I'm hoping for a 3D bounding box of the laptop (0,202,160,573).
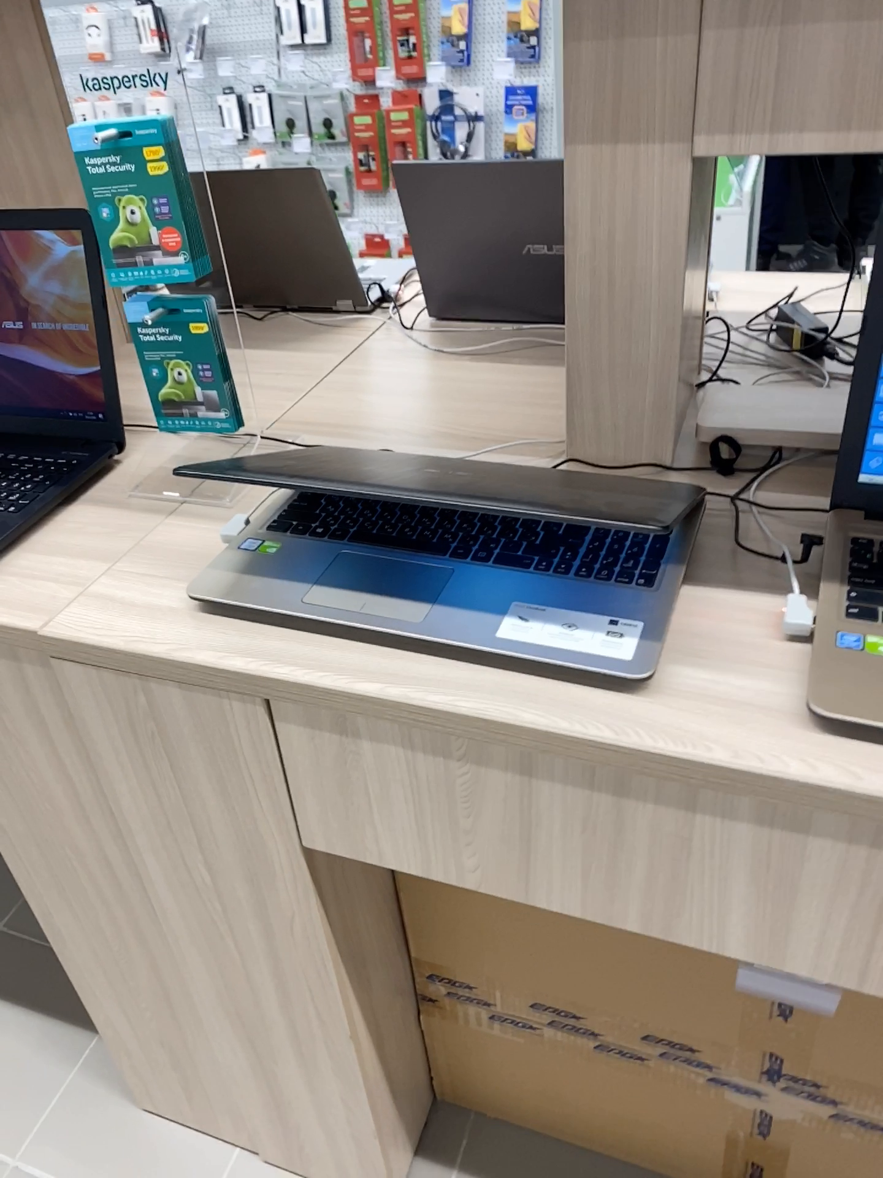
[{"bbox_3d":[-0.585,-0.225,0.914,0.421,0.235,0.319,8,37,20],"label":"laptop"}]

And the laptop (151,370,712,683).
[{"bbox_3d":[0.002,-0.074,0.735,0.382,0.094,0.241,9,38,21],"label":"laptop"}]
